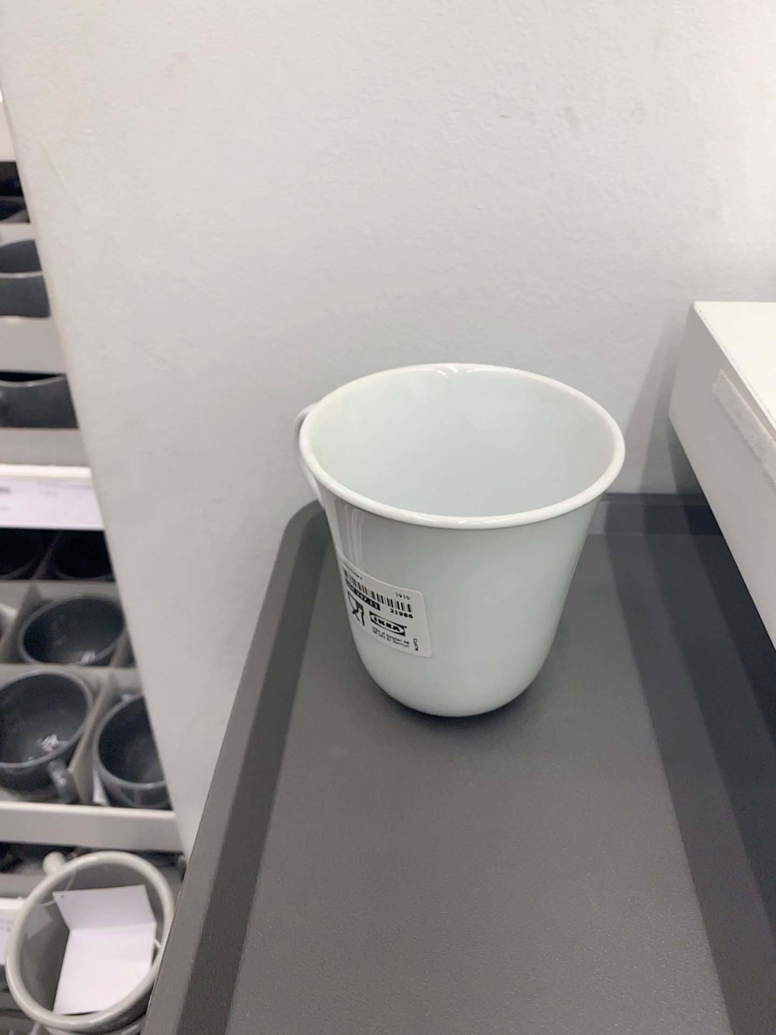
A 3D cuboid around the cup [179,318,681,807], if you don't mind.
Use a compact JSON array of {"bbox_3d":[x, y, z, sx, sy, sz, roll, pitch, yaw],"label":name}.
[{"bbox_3d":[0.013,0.005,0.292,0.130,0.100,0.100,24,41,31],"label":"cup"}]
